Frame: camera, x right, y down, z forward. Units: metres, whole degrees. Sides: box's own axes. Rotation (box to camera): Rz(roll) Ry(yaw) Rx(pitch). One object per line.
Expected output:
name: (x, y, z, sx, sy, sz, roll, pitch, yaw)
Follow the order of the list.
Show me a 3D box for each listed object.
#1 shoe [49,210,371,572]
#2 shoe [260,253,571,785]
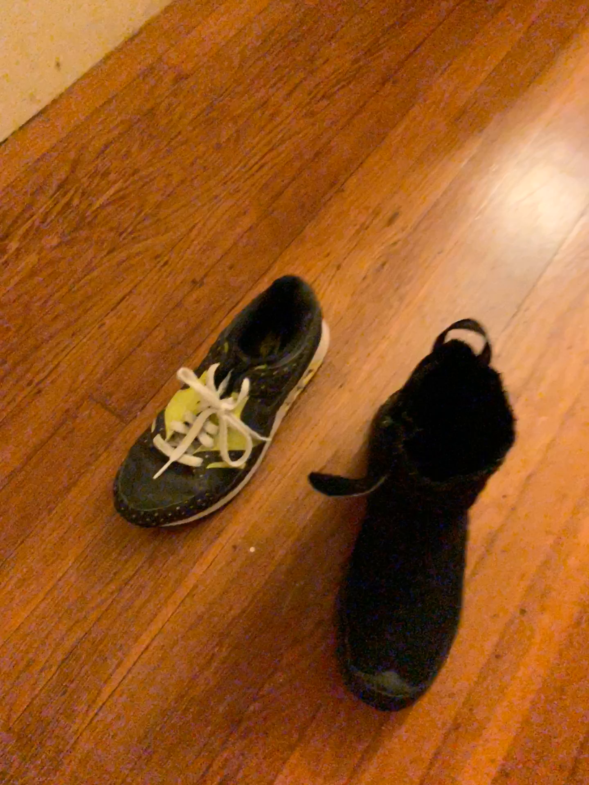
shoe: (-0.061, -0.005, 0.542, 0.120, 0.100, 0.290, 30, 70, 9)
shoe: (0.085, 0.099, 0.493, 0.160, 0.240, 0.310, 12, 69, 2)
